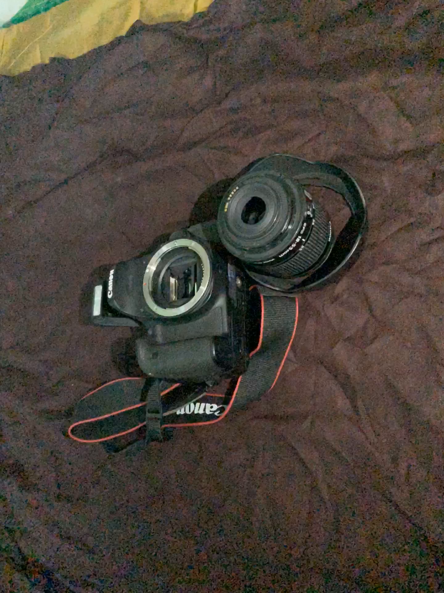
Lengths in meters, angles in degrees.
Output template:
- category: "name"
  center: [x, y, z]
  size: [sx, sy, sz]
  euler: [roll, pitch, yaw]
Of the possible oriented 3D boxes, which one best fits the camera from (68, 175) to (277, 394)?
- category: "camera"
  center: [-0.041, -0.002, 0.405]
  size: [0.151, 0.082, 0.147]
  euler: [-12, 64, 24]
